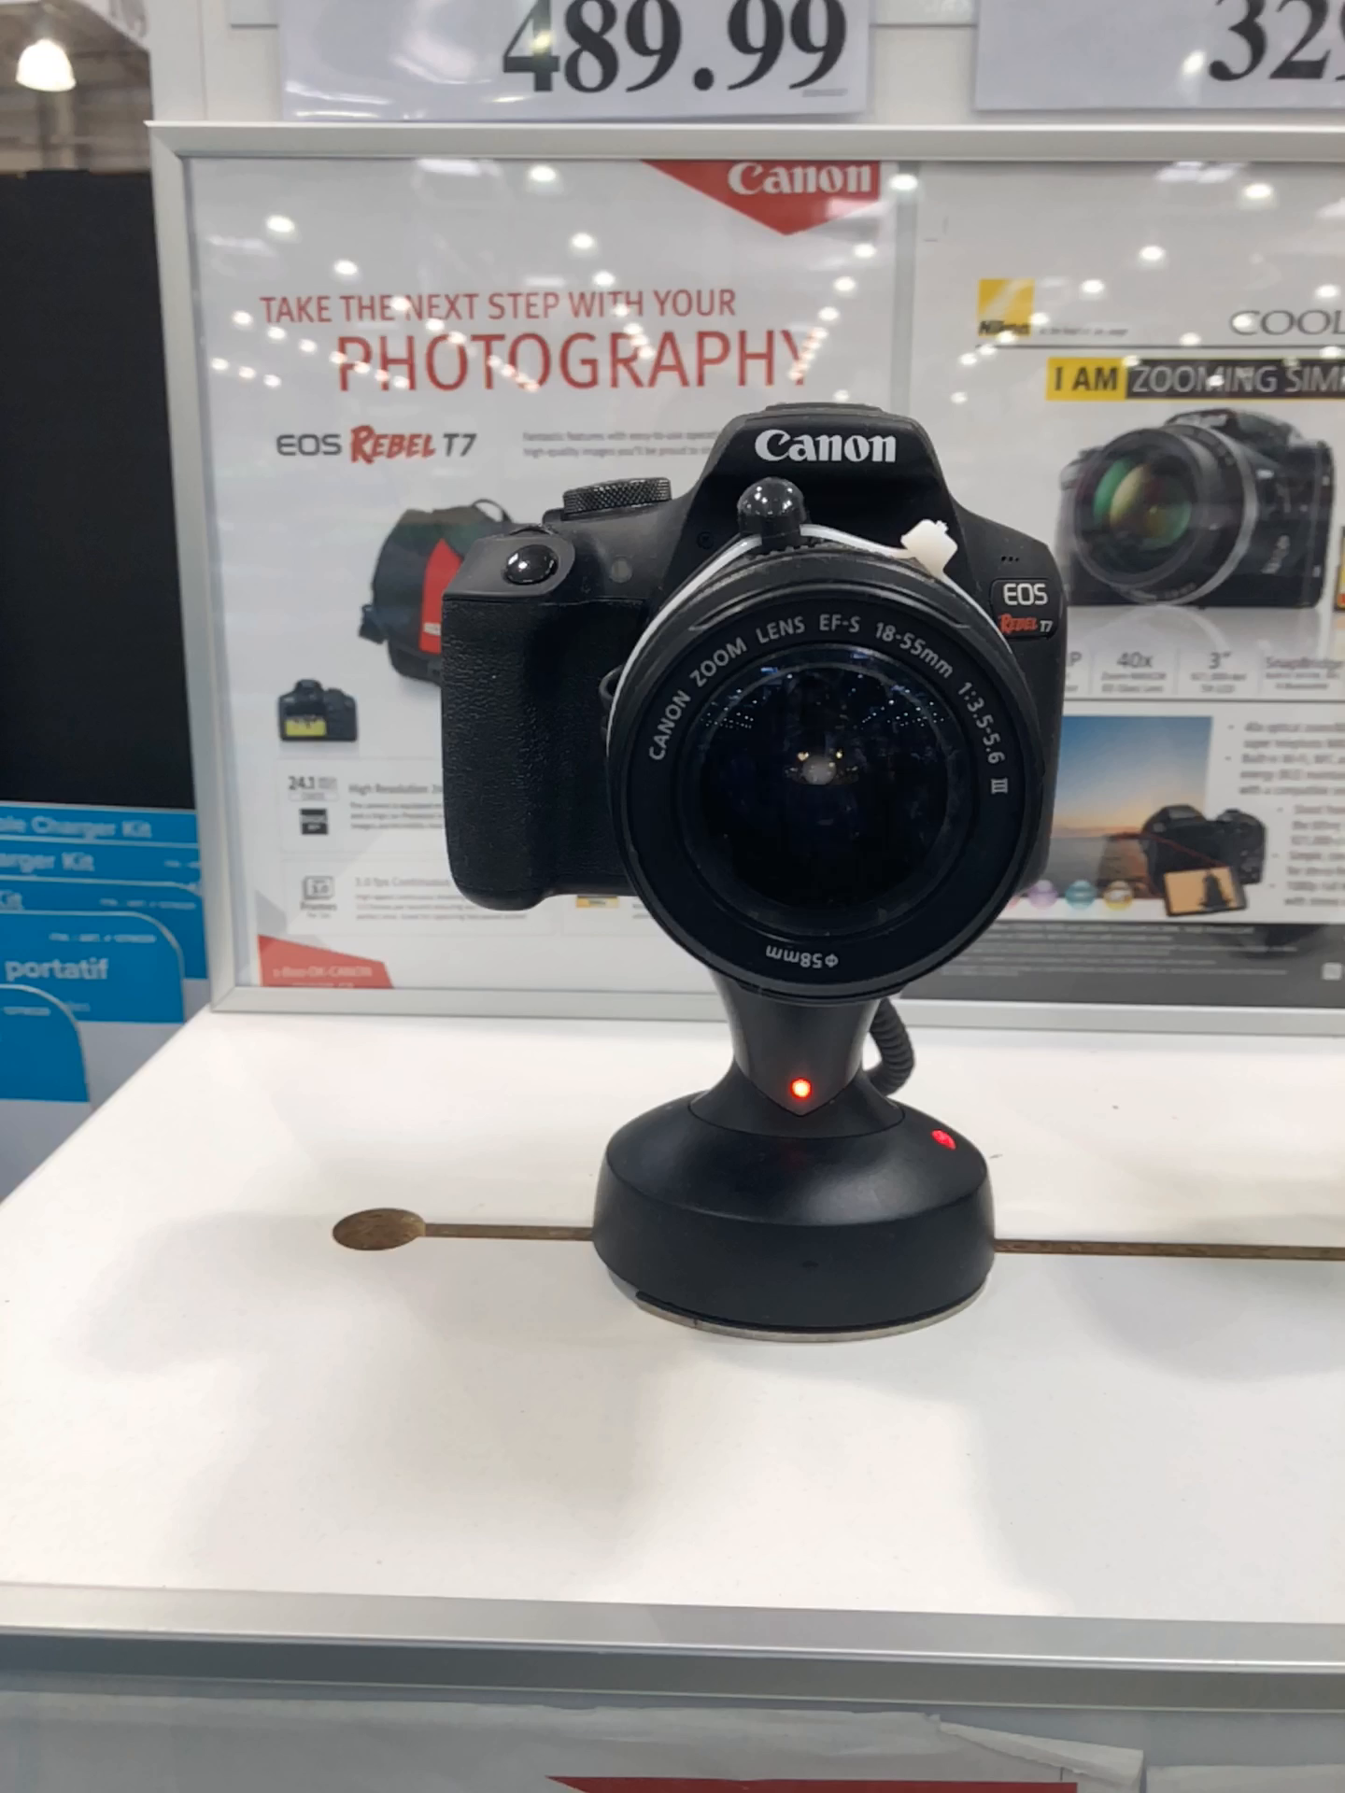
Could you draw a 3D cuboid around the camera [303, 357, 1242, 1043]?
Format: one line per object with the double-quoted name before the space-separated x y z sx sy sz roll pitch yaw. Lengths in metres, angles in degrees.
"camera" 0.013 -0.041 0.277 0.130 0.100 0.120 0 14 0
